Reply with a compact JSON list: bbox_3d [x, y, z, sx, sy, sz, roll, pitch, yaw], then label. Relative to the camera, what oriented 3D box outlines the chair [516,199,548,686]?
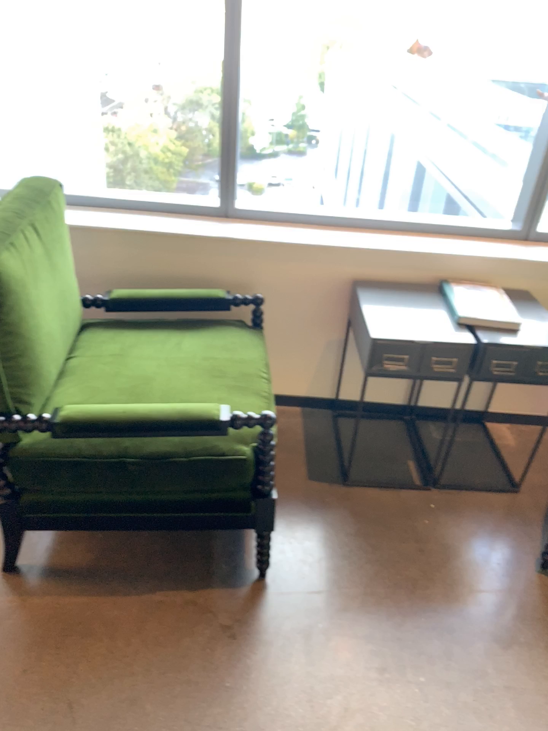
[{"bbox_3d":[1.379,0.142,1.787,0.762,0.984,0.924,20,35,23],"label":"chair"}]

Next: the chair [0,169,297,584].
[{"bbox_3d":[-0.471,0.022,1.706,0.920,0.974,0.735,1,32,-6],"label":"chair"}]
